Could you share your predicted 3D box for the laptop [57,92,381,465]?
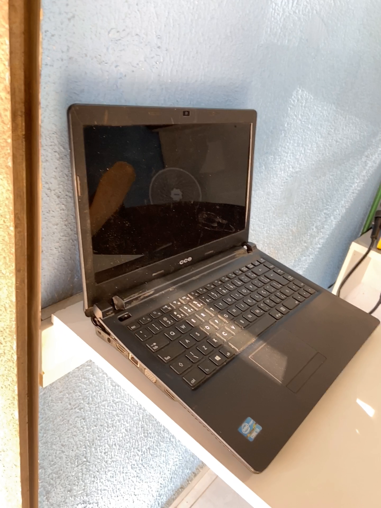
[{"bbox_3d":[0.073,-0.032,0.484,0.312,0.211,0.335,33,34,30],"label":"laptop"}]
